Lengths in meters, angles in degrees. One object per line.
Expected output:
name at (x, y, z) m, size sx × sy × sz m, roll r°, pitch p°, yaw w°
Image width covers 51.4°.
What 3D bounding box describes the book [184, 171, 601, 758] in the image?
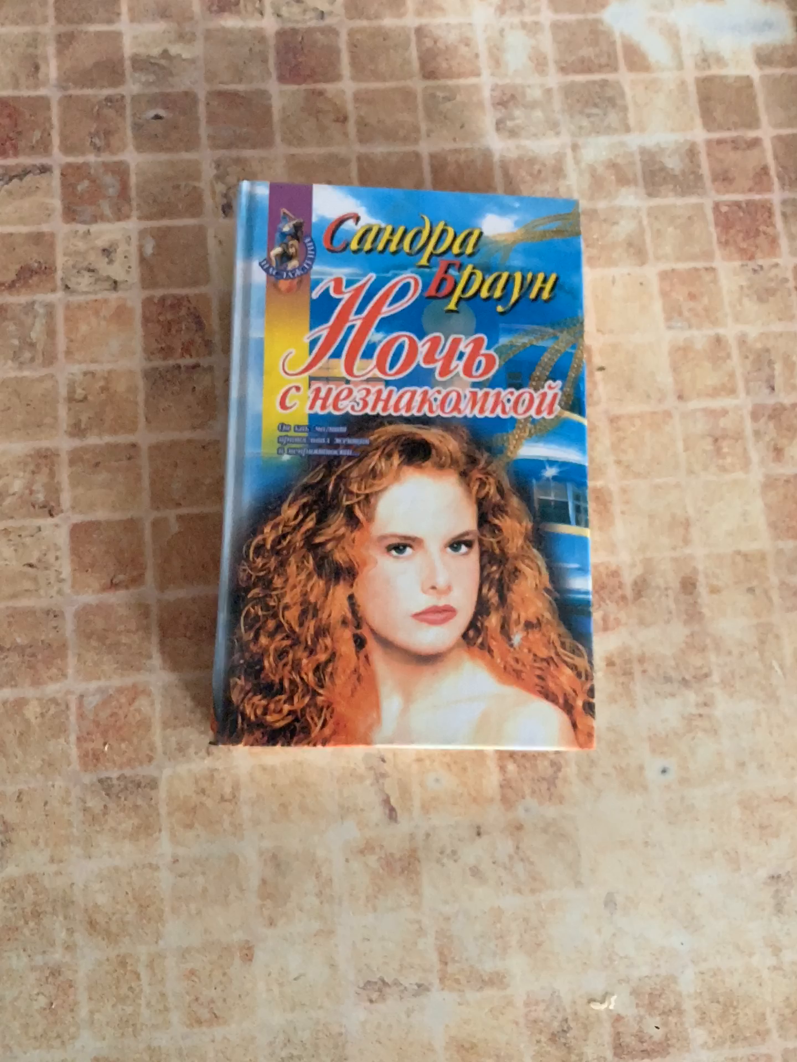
book at (-0.001, -0.024, 0.289) m, size 0.130 × 0.029 × 0.198 m, roll 1°, pitch 80°, yaw -4°
